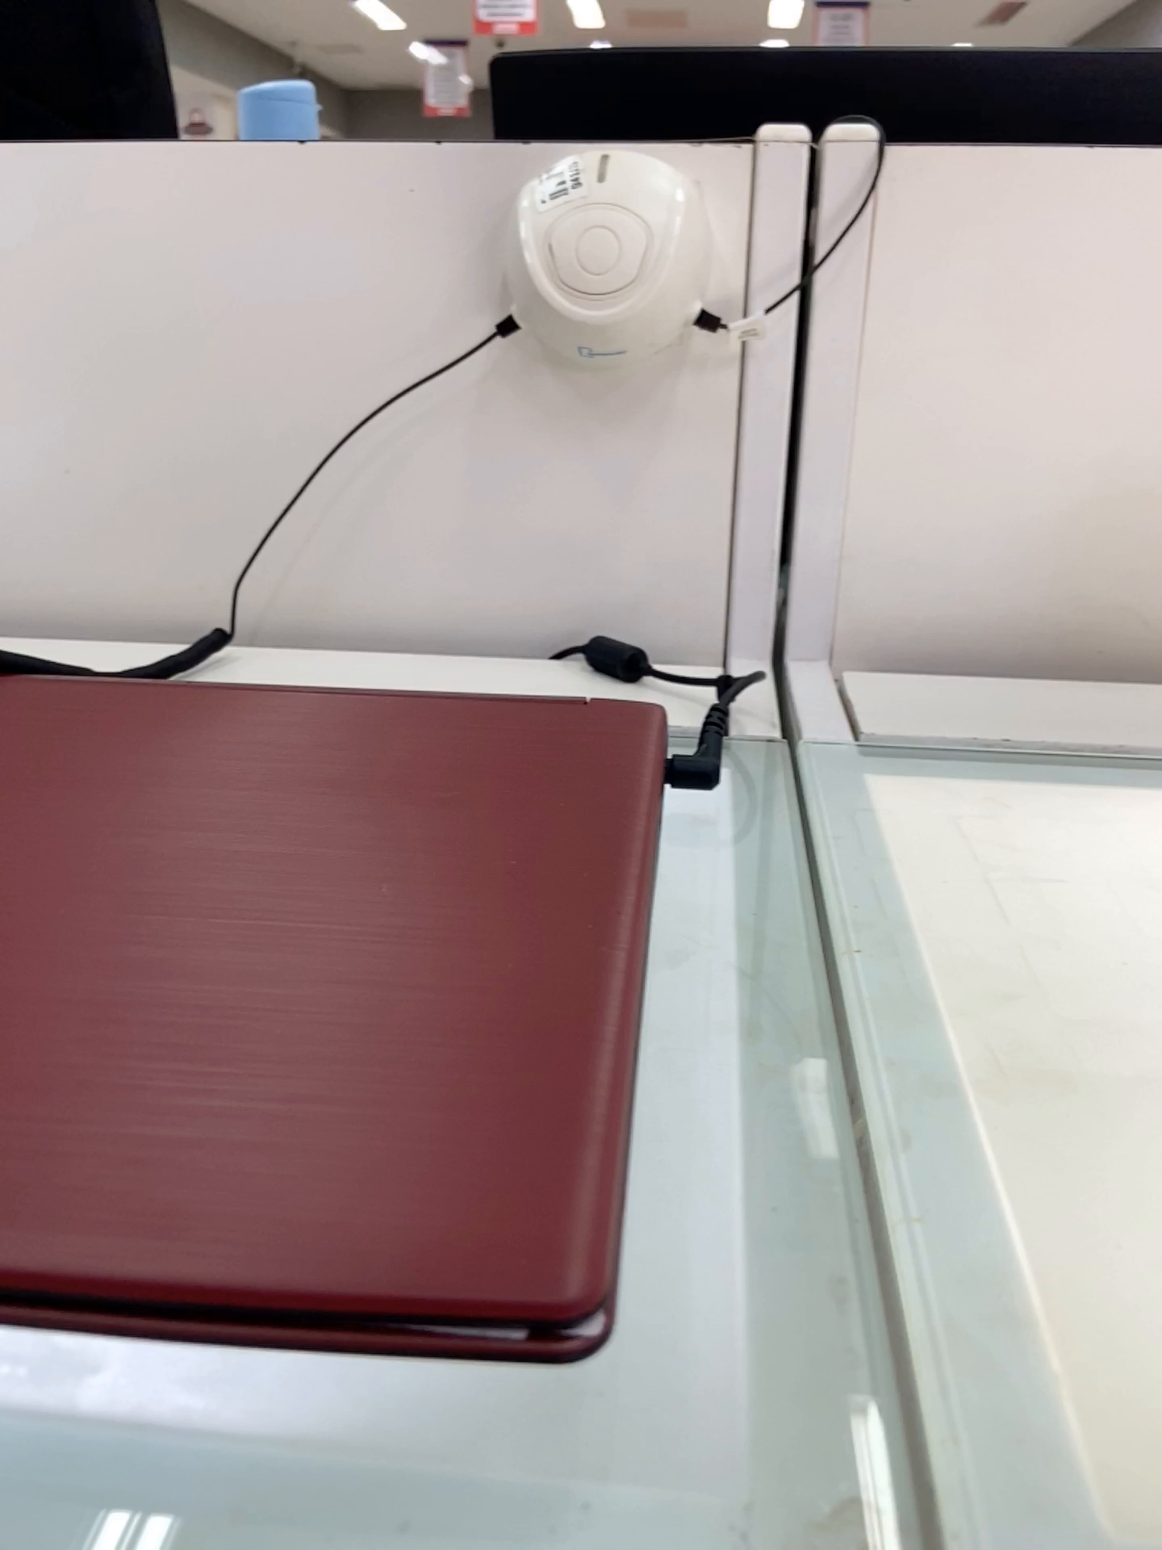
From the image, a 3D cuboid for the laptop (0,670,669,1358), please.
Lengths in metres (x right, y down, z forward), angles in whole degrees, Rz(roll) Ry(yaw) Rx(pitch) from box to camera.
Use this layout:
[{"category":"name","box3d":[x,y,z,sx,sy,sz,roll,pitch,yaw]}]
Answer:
[{"category":"laptop","box3d":[-0.167,0.020,0.298,0.367,0.006,0.263,3,20,5]}]
